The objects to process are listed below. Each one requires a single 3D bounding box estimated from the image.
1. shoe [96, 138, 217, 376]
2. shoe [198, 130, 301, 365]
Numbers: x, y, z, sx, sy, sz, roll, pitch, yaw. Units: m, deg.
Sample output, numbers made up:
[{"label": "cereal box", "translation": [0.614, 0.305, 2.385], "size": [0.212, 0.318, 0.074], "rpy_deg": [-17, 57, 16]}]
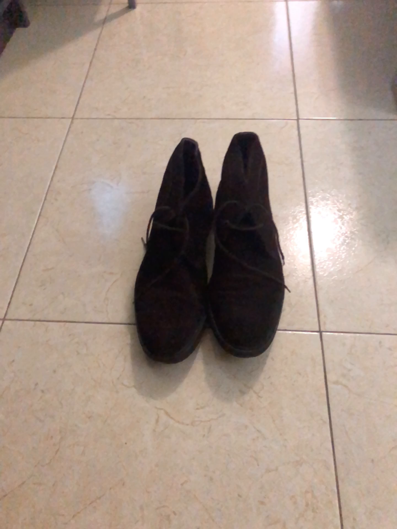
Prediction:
[{"label": "shoe", "translation": [-0.039, -0.020, 0.596], "size": [0.110, 0.130, 0.301], "rpy_deg": [2, 56, 4]}, {"label": "shoe", "translation": [0.068, -0.031, 0.613], "size": [0.110, 0.140, 0.301], "rpy_deg": [2, 56, 4]}]
